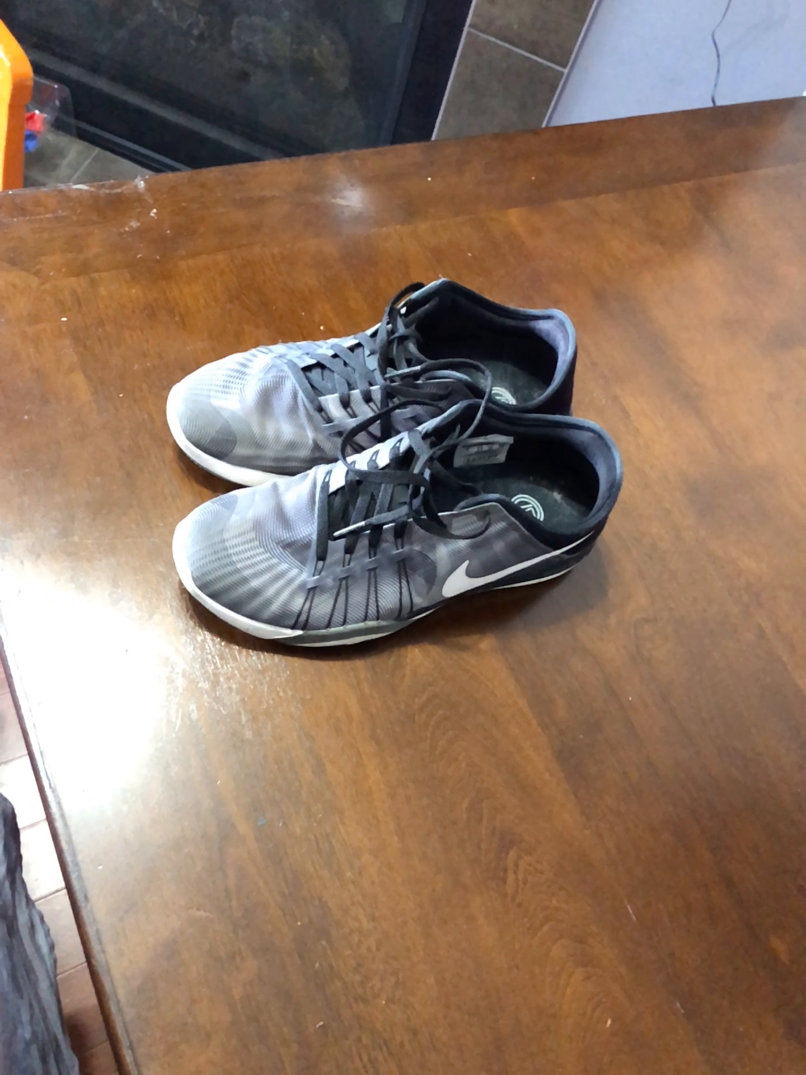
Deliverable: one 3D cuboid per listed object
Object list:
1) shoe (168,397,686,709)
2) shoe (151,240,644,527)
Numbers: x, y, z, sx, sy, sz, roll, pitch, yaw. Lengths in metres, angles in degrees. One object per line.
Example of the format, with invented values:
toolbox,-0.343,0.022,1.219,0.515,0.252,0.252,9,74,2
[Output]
shoe,0.007,0.004,0.450,0.230,0.080,0.100,-9,65,-18
shoe,-0.008,-0.085,0.477,0.230,0.090,0.100,-8,65,-18
